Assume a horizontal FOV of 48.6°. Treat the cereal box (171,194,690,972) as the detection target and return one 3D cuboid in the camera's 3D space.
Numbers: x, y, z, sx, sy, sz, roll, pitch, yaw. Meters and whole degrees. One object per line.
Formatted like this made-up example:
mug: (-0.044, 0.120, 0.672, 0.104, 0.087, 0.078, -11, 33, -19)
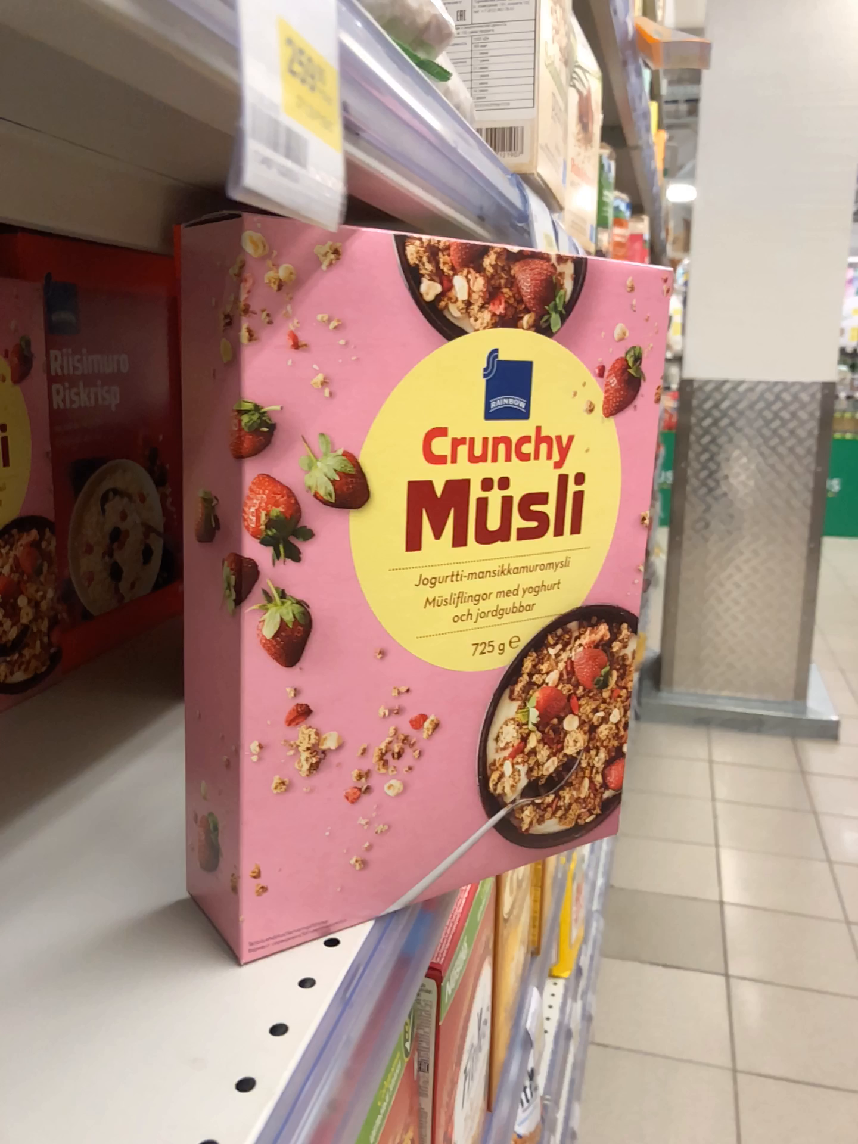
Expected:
cereal box: (0.003, -0.001, 0.389, 0.200, 0.259, 0.060, -6, 15, -35)
